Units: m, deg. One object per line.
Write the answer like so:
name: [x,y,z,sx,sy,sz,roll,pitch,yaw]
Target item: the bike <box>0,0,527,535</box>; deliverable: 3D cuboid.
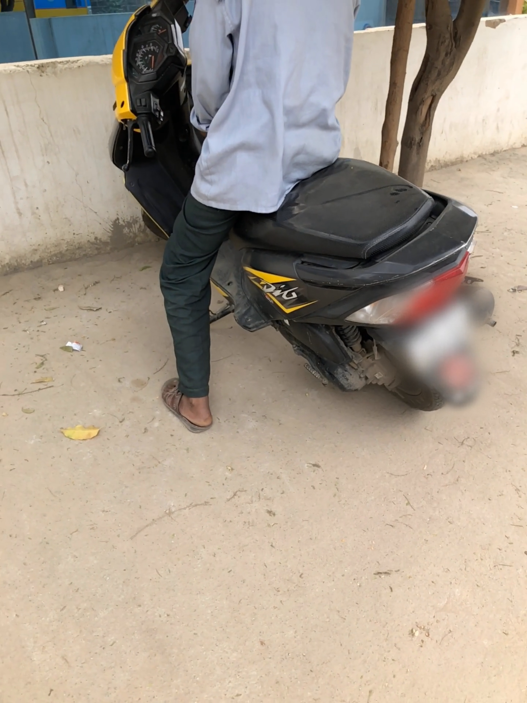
bike: [-0.203,-0.505,1.750,0.637,1.145,1.573,-27,43,-33]
